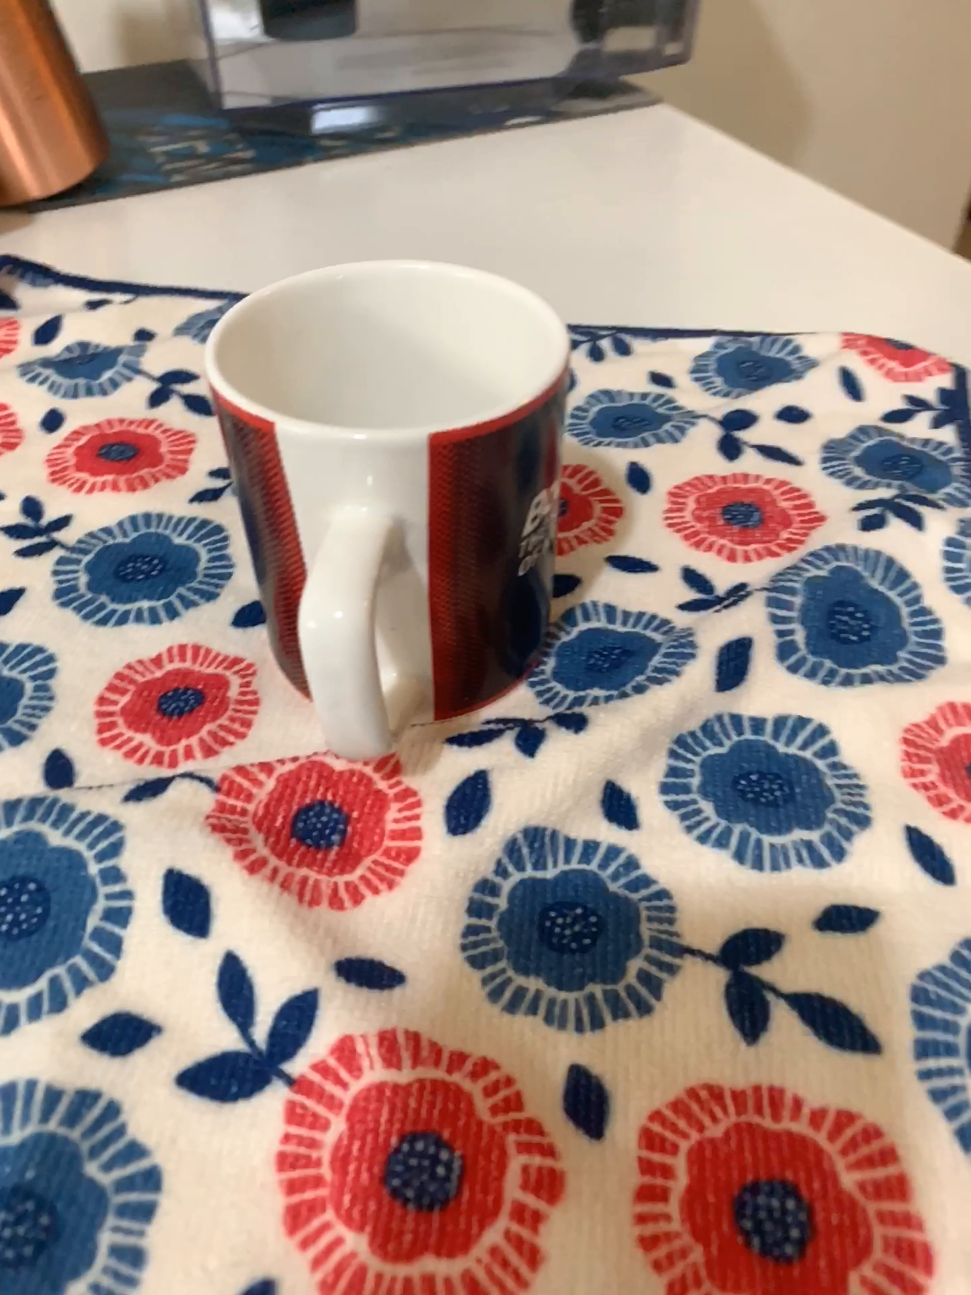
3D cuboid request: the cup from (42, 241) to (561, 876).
[{"bbox_3d":[-0.025,-0.023,0.225,0.080,0.089,0.111,2,43,3],"label":"cup"}]
